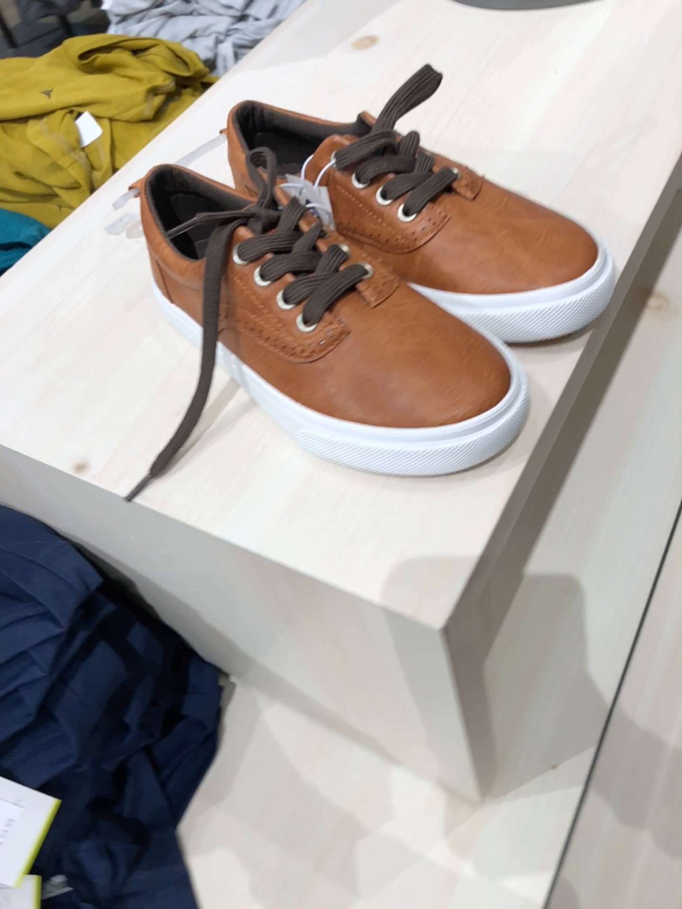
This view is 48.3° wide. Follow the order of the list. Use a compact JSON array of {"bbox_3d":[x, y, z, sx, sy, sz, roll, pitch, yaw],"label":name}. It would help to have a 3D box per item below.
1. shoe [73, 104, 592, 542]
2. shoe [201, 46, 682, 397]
[{"bbox_3d":[-0.011,-0.072,0.347,0.090,0.090,0.221,-42,53,-20],"label":"shoe"},{"bbox_3d":[0.045,-0.123,0.369,0.211,0.080,0.090,29,64,32],"label":"shoe"}]
